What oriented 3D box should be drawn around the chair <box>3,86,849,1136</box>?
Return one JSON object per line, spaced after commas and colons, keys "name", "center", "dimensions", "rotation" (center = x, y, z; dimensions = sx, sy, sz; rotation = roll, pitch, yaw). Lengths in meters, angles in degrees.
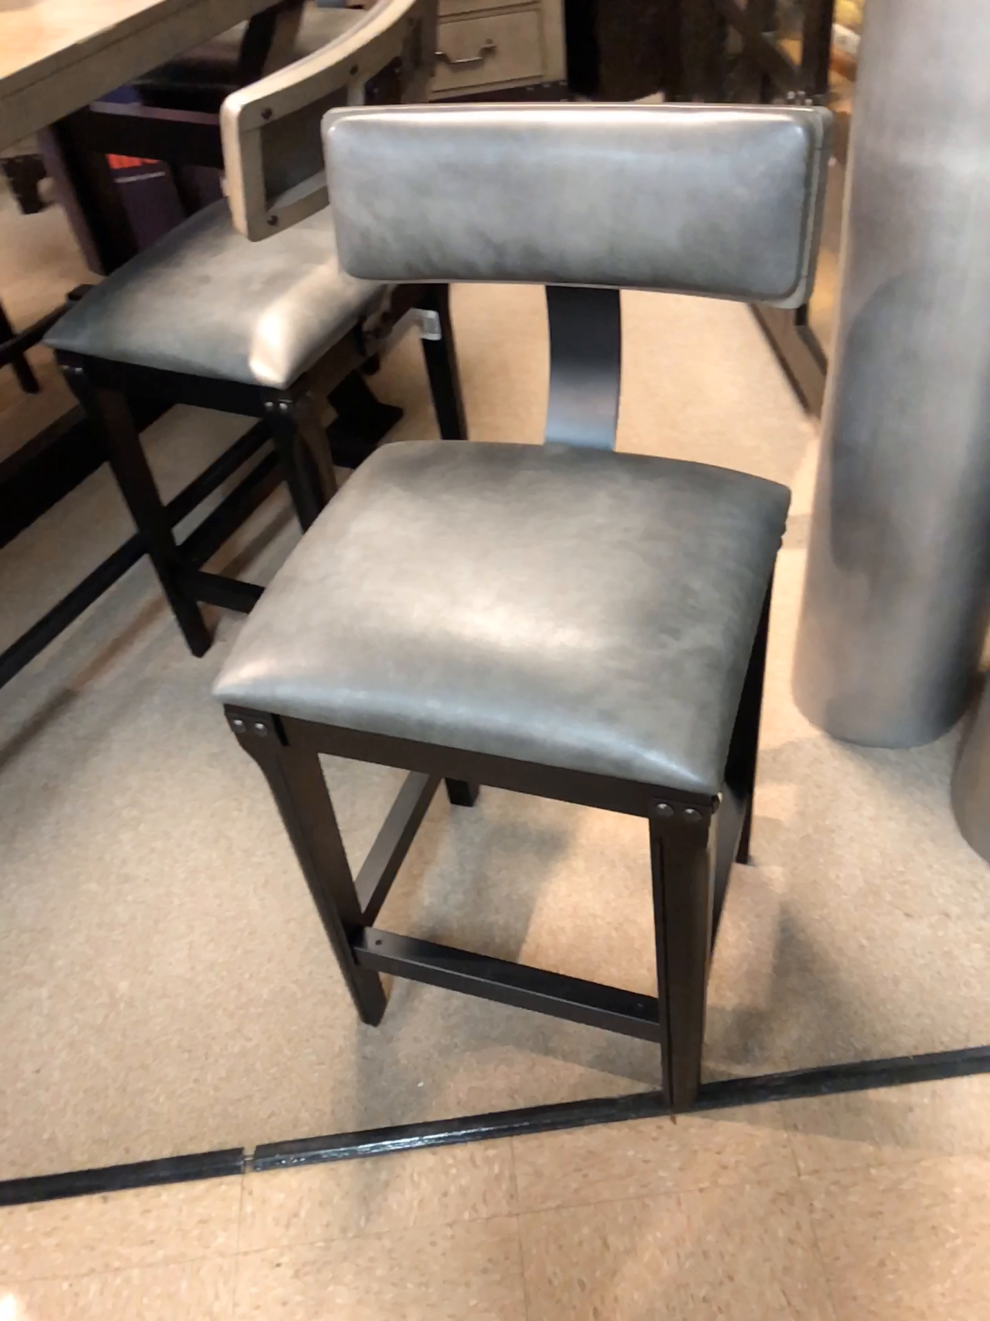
{"name": "chair", "center": [0.032, 0.000, 1.032], "dimensions": [0.441, 0.864, 0.462], "rotation": [9, 48, 16]}
